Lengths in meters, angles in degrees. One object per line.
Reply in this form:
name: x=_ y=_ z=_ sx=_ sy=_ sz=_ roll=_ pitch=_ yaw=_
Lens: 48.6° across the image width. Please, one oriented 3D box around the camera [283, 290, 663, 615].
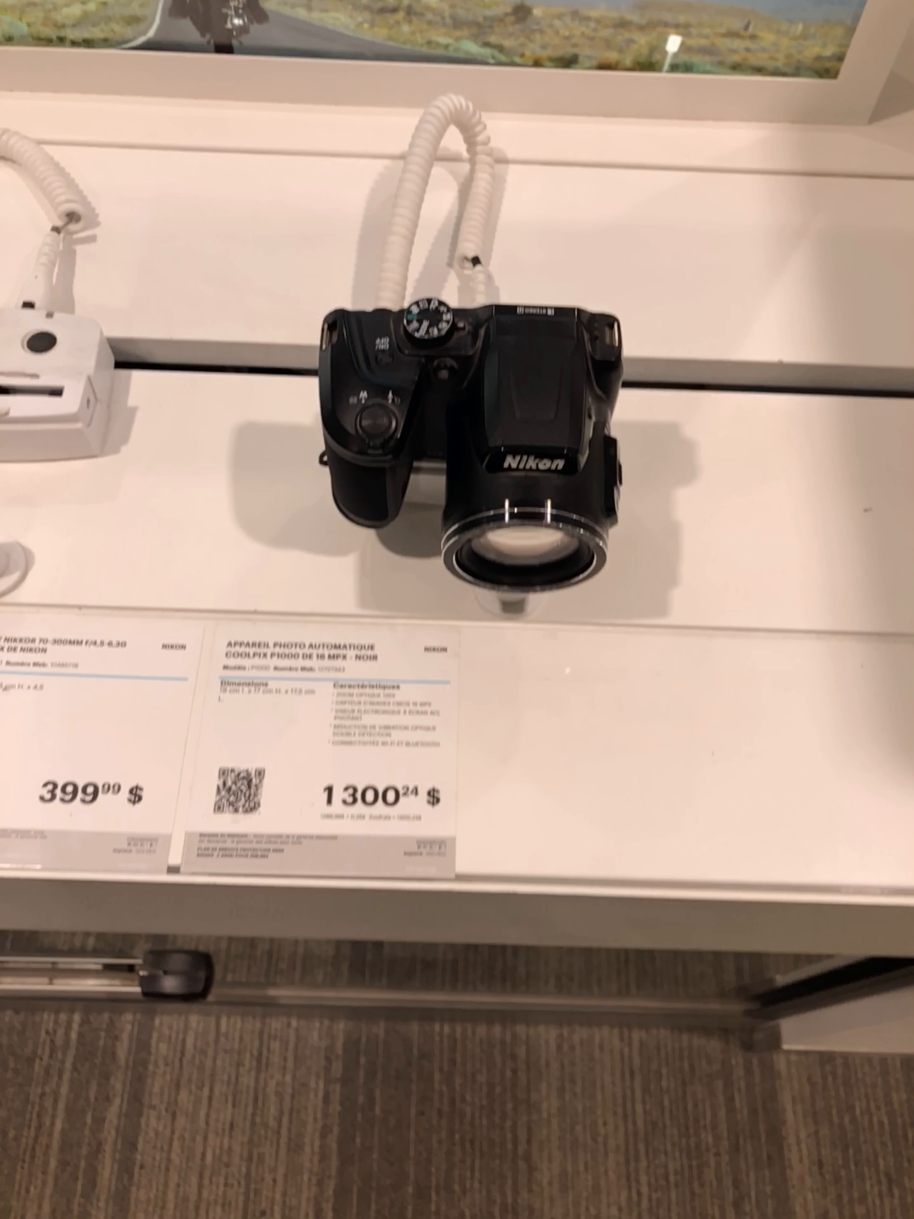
camera: x=0.004 y=-0.055 z=0.363 sx=0.117 sy=0.068 sz=0.092 roll=1 pitch=63 yaw=-1
